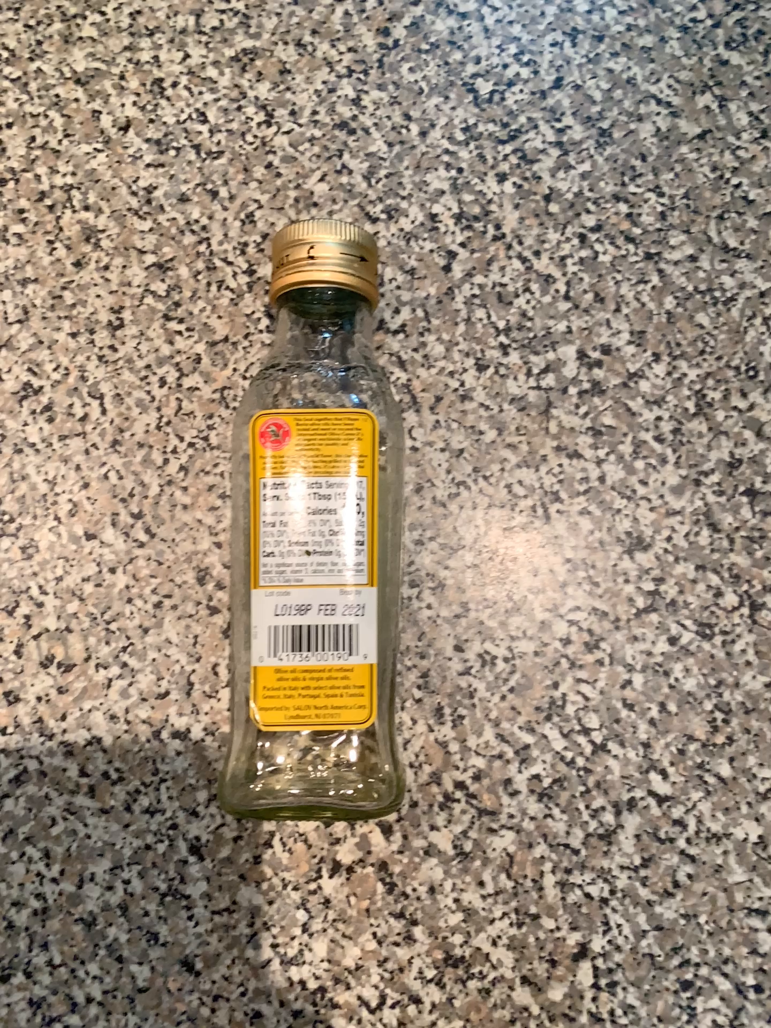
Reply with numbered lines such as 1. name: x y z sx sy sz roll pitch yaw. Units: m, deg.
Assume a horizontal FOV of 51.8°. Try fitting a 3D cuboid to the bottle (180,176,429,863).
1. bottle: -0.020 0.000 0.236 0.060 0.060 0.180 0 81 0
